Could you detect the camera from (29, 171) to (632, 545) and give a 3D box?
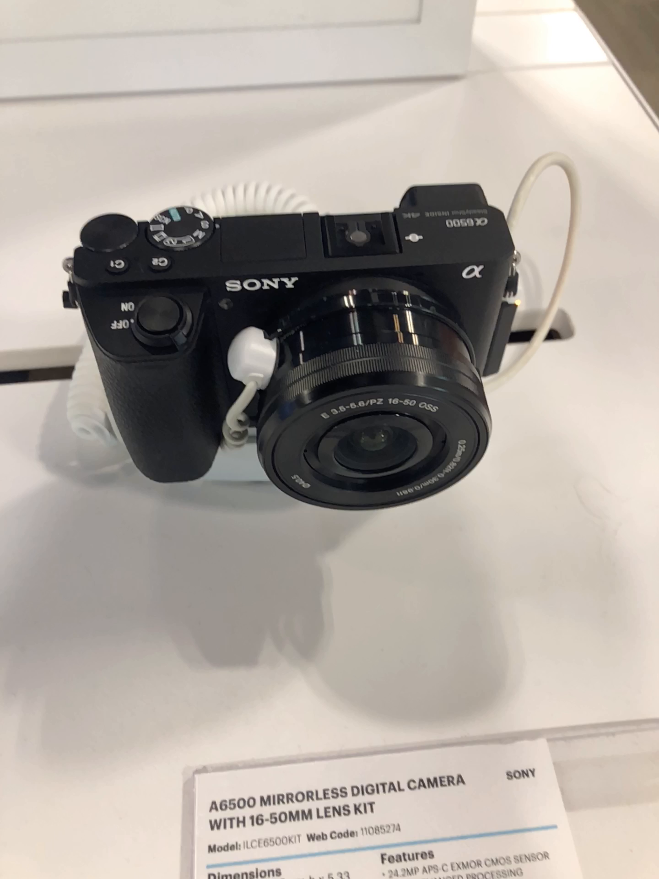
[{"bbox_3d":[-0.002,-0.024,0.218,0.140,0.070,0.070,-5,53,-6],"label":"camera"}]
